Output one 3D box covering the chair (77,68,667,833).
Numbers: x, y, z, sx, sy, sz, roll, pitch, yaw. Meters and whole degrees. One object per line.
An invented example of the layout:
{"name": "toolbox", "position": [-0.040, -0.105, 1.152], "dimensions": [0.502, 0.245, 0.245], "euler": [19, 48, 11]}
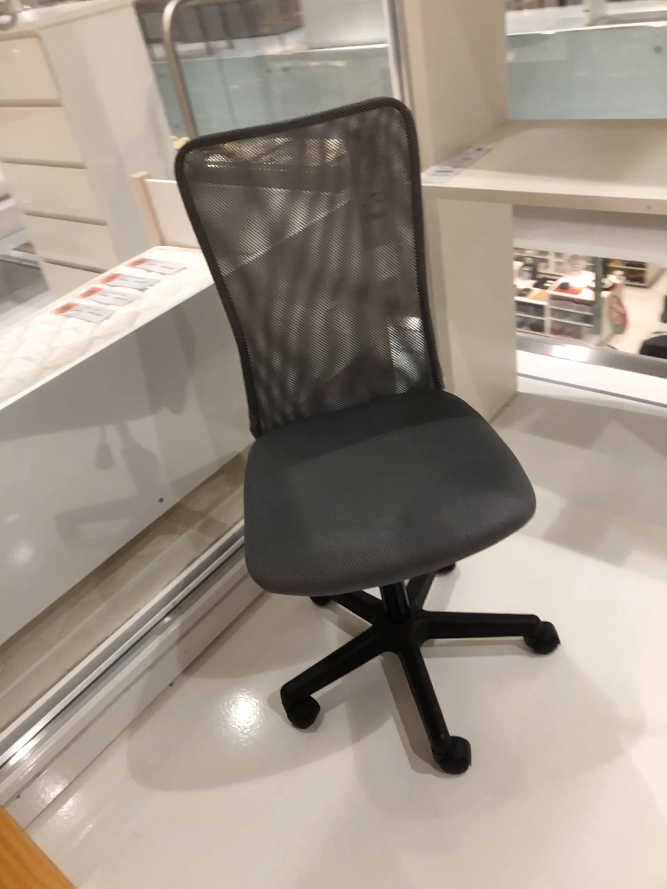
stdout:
{"name": "chair", "position": [0.074, 0.008, 1.174], "dimensions": [0.580, 0.933, 0.605], "euler": [-15, 35, -4]}
